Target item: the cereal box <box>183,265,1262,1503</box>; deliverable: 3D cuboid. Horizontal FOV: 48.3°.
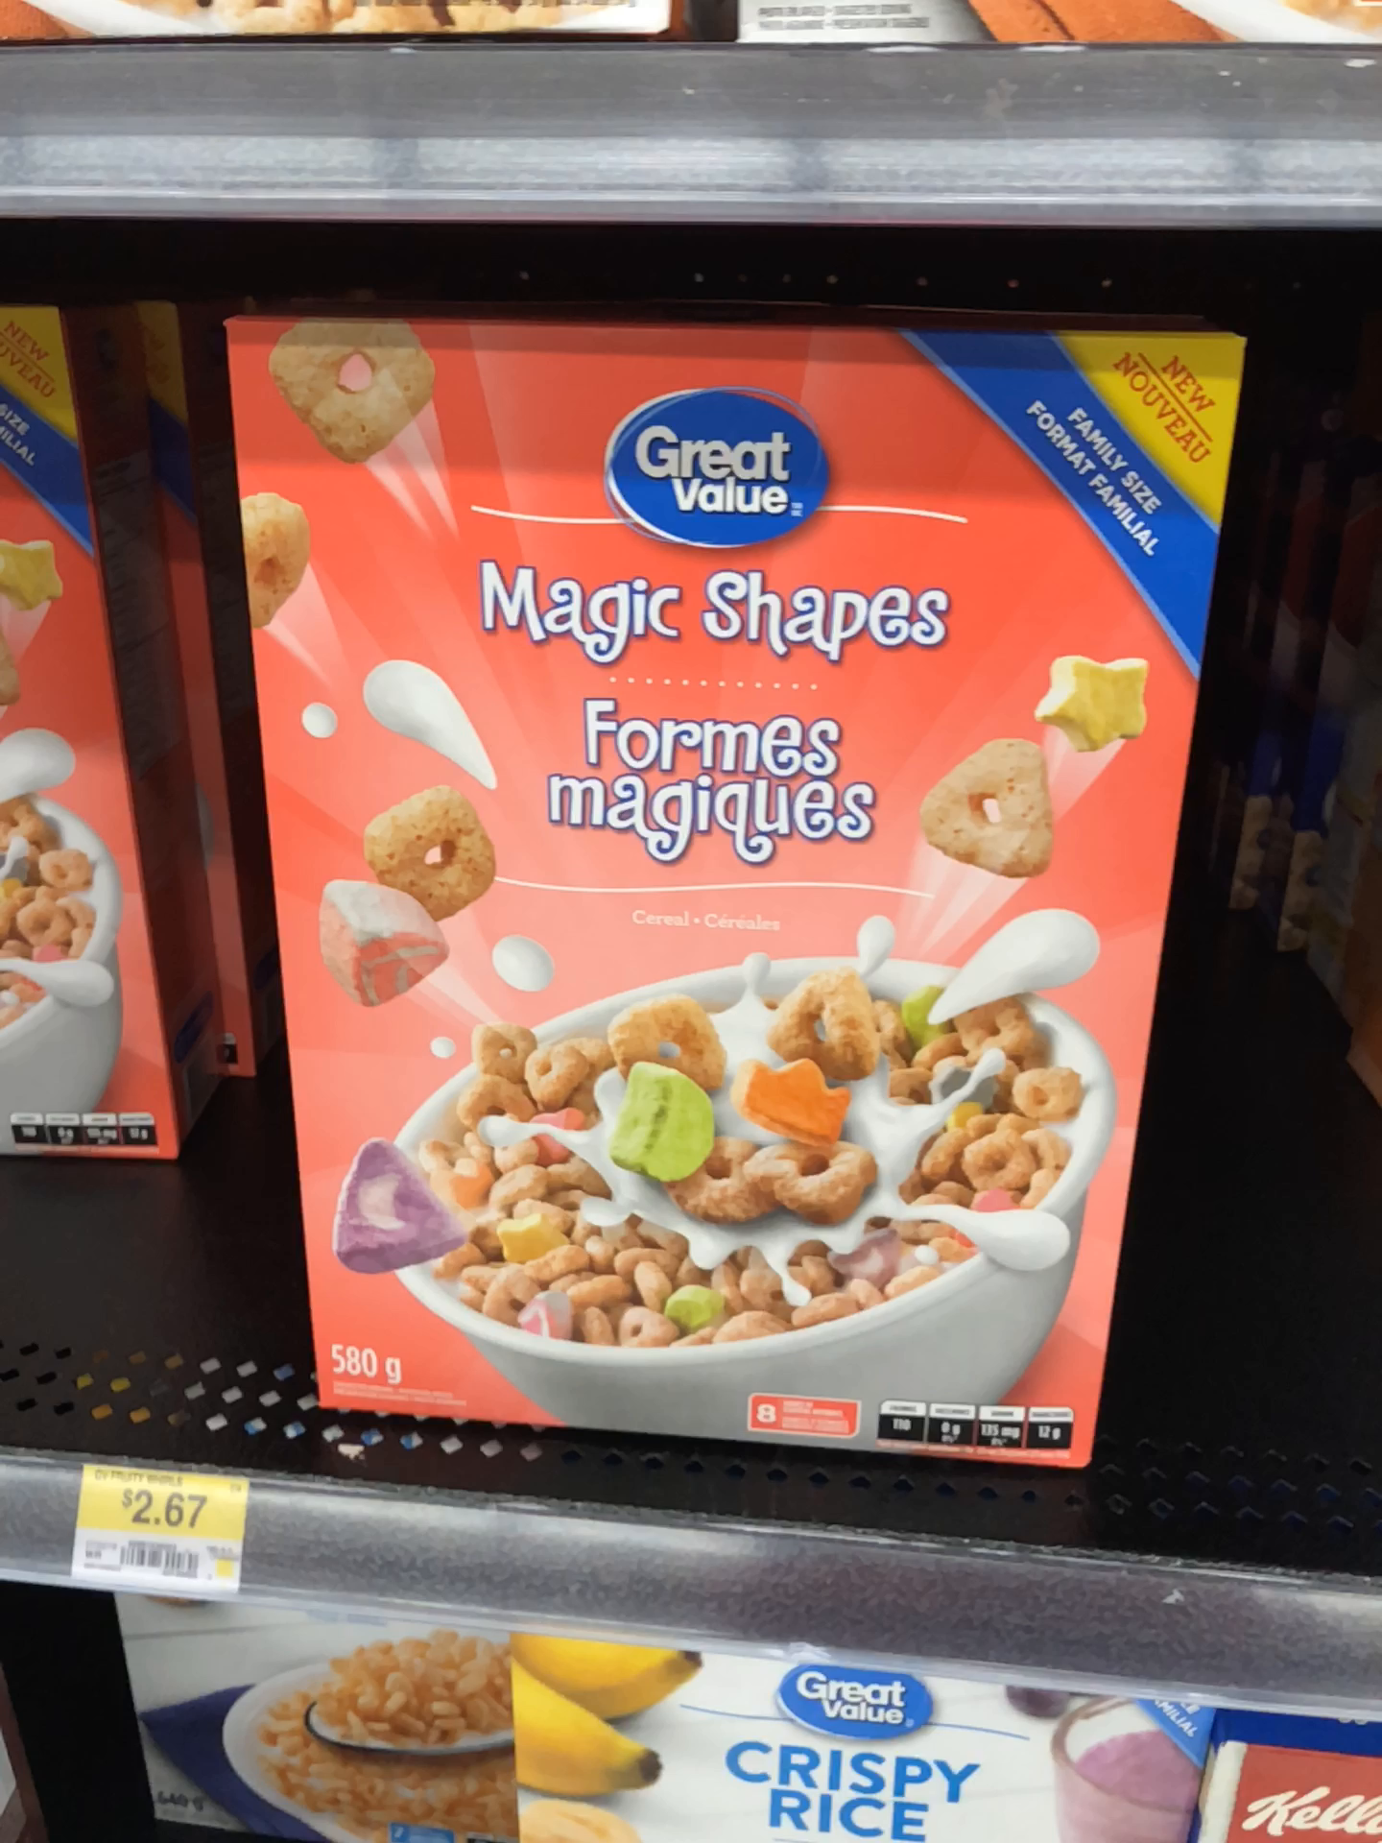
[{"bbox_3d":[0.004,-0.005,0.452,0.250,0.339,0.080,3,21,5],"label":"cereal box"}]
